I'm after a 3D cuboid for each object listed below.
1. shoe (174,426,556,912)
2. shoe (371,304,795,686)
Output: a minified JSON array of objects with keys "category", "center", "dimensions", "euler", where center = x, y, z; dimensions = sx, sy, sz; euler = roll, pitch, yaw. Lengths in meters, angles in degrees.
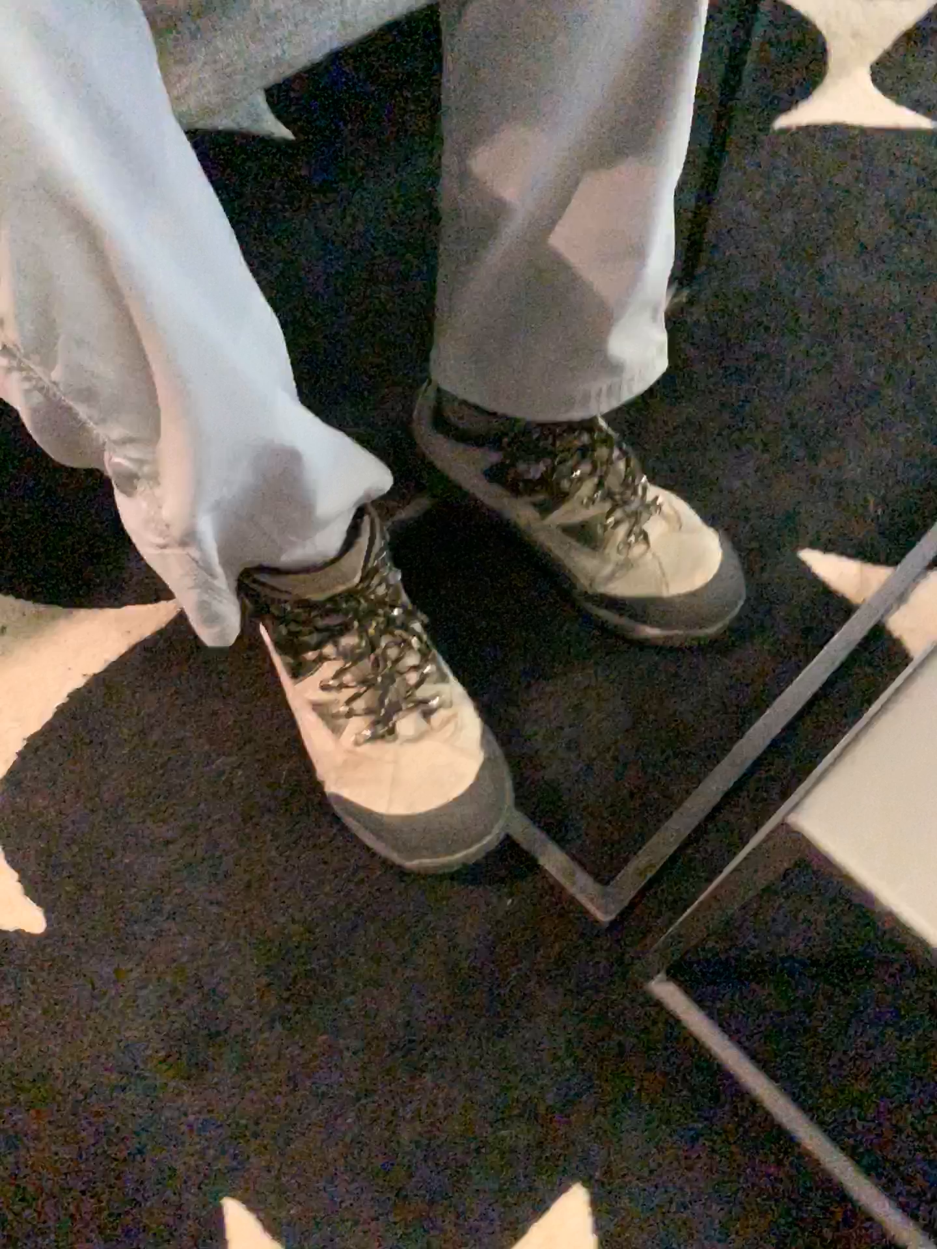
[{"category":"shoe","center":[-0.073,0.024,0.635],"dimensions":[0.123,0.090,0.285],"euler":[-26,69,-13]},{"category":"shoe","center":[0.077,-0.106,0.735],"dimensions":[0.304,0.080,0.121],"euler":[41,69,19]}]
